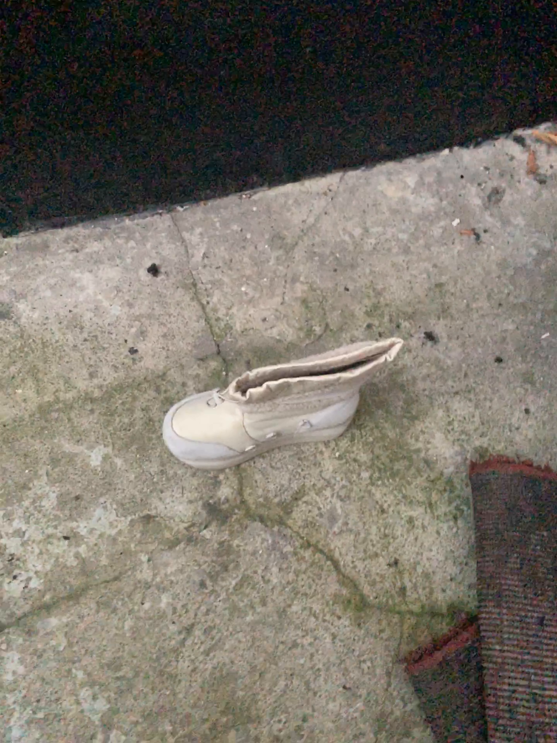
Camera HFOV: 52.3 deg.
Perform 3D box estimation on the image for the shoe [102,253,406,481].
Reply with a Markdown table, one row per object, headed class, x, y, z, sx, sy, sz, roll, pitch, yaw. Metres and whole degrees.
| class | x | y | z | sx | sy | sz | roll | pitch | yaw |
| --- | --- | --- | --- | --- | --- | --- | --- | --- | --- |
| shoe | -0.026 | 0.016 | 0.676 | 0.270 | 0.299 | 0.110 | -13 | 69 | -5 |
